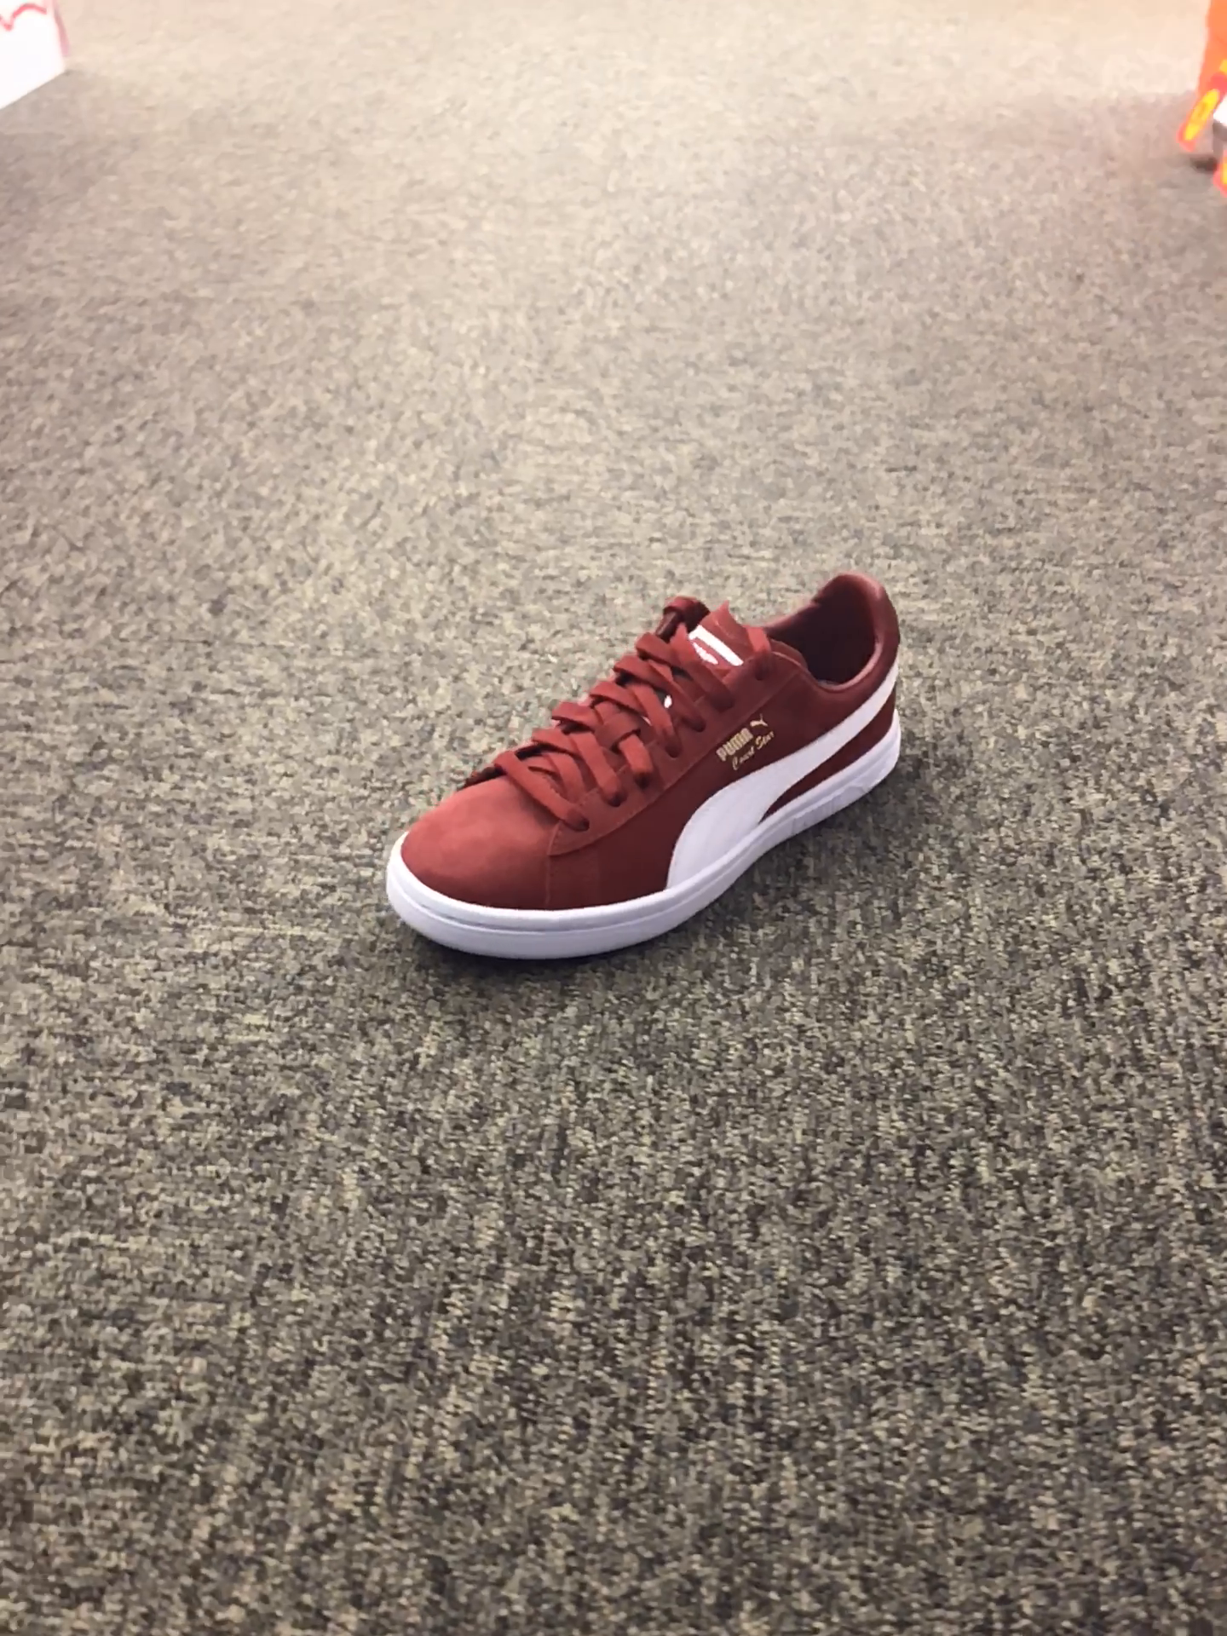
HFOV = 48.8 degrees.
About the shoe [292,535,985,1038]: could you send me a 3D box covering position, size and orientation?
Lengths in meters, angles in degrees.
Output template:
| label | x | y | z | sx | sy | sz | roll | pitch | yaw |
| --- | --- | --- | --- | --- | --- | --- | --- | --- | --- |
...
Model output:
| label | x | y | z | sx | sy | sz | roll | pitch | yaw |
| --- | --- | --- | --- | --- | --- | --- | --- | --- | --- |
| shoe | 0.015 | -0.024 | 0.538 | 0.251 | 0.080 | 0.100 | -23 | 44 | -25 |
